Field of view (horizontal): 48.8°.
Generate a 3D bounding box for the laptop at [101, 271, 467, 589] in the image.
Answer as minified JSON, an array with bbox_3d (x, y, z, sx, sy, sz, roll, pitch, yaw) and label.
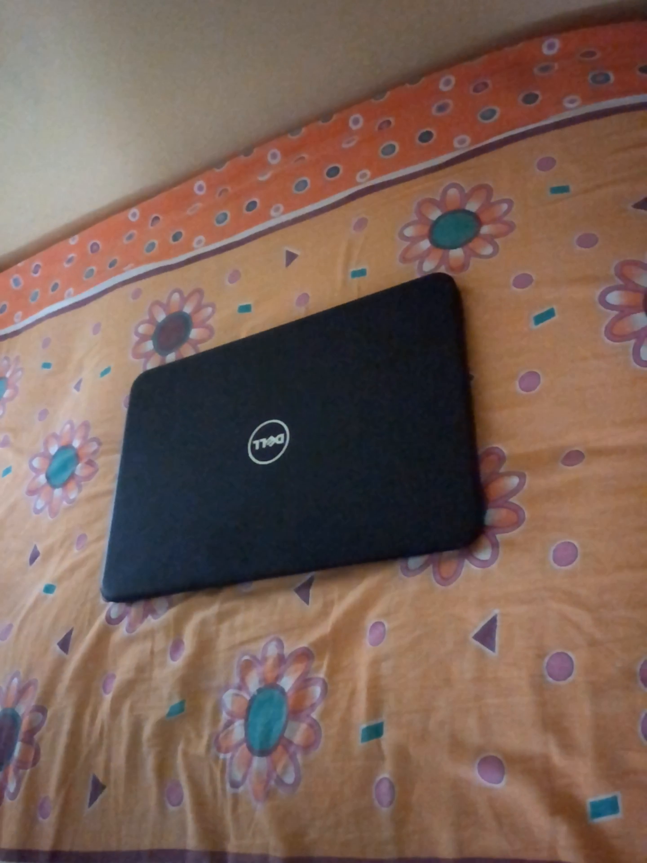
[{"bbox_3d":[-0.056,0.004,0.651,0.359,0.001,0.236,-15,60,25],"label":"laptop"}]
